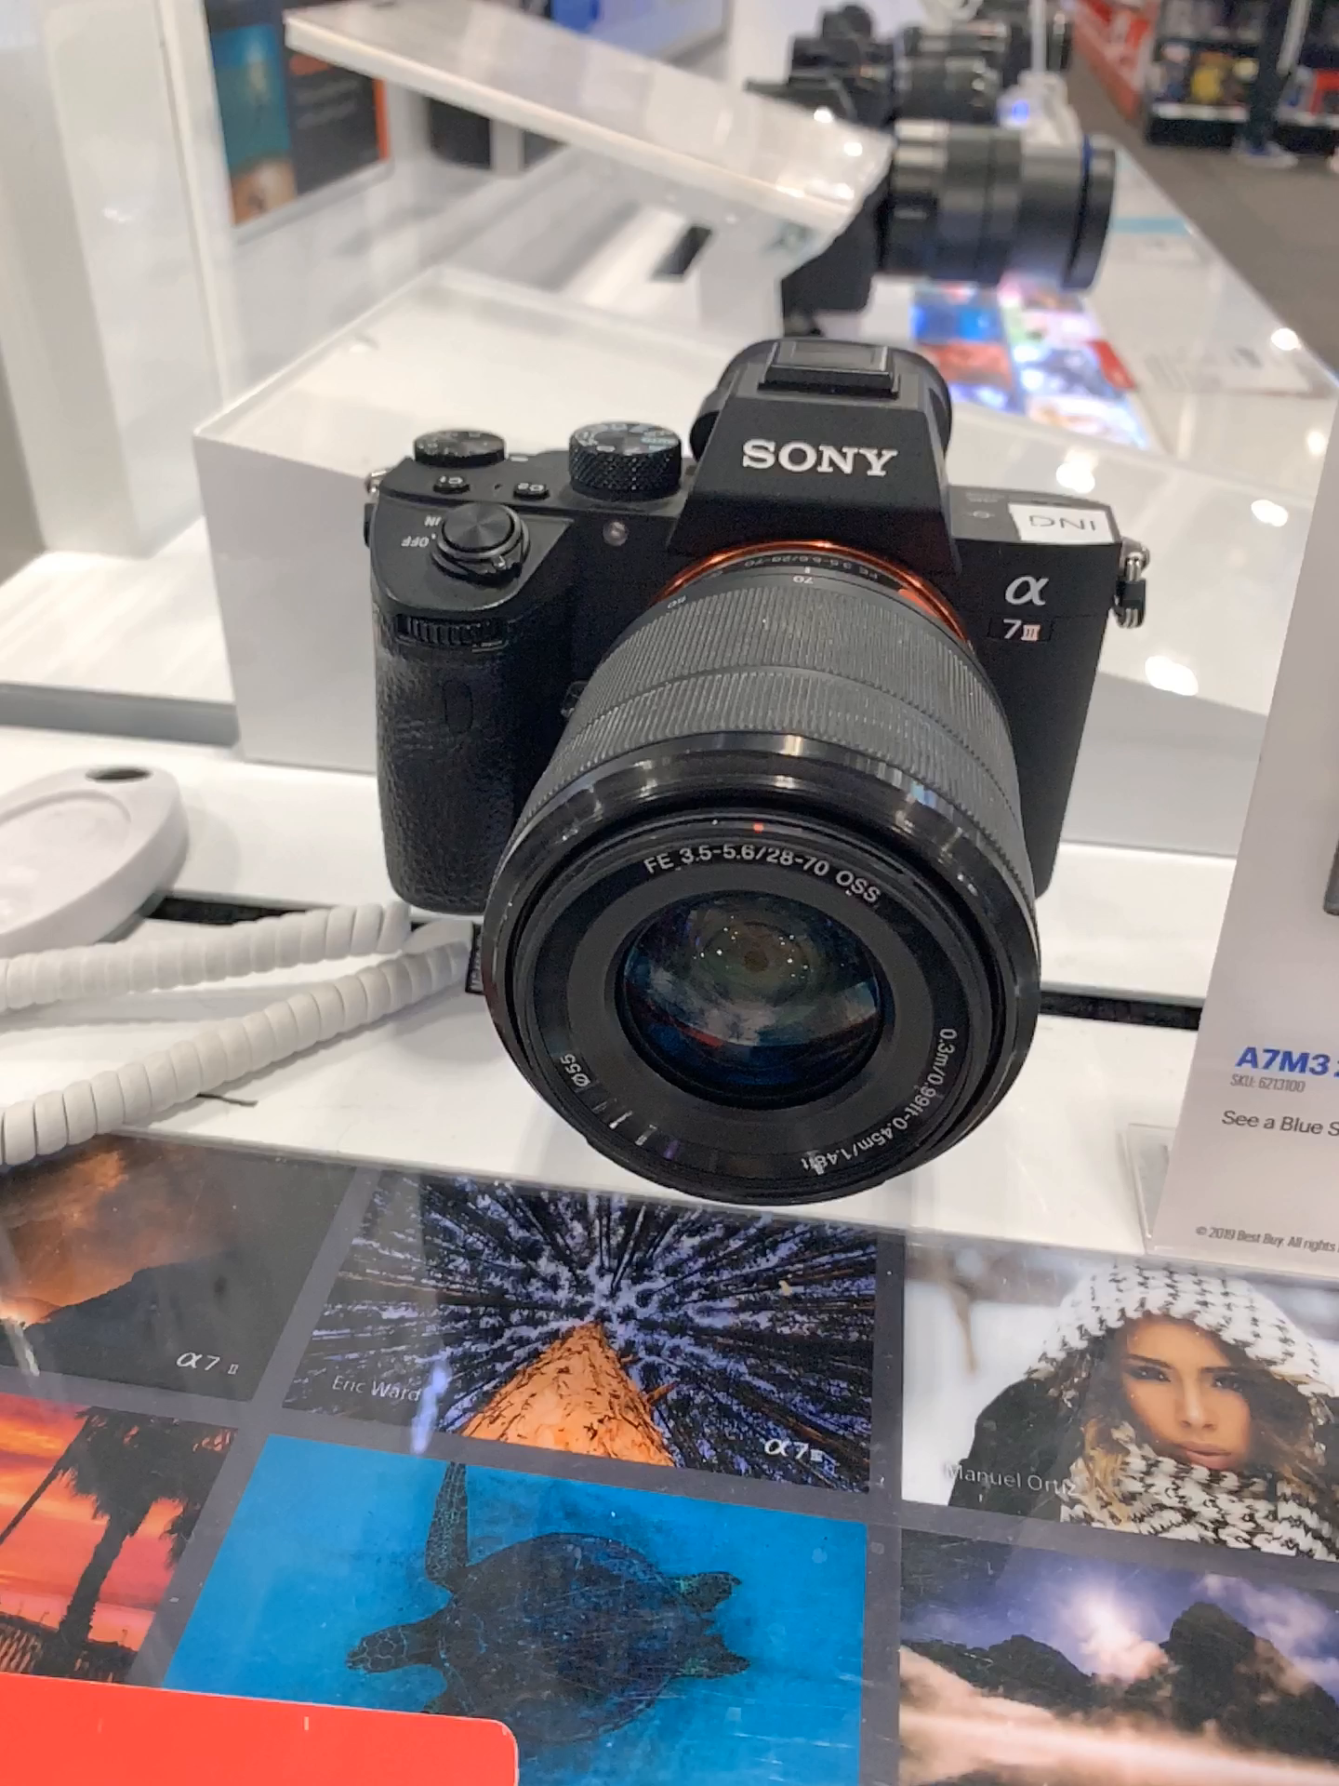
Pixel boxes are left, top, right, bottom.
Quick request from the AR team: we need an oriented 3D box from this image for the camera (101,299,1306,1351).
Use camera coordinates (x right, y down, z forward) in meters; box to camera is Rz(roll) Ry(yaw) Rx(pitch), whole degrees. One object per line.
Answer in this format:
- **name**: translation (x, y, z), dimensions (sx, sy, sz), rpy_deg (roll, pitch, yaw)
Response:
- **camera**: translation (0.007, -0.023, 0.224), dimensions (0.119, 0.099, 0.141), rpy_deg (4, 36, 3)
